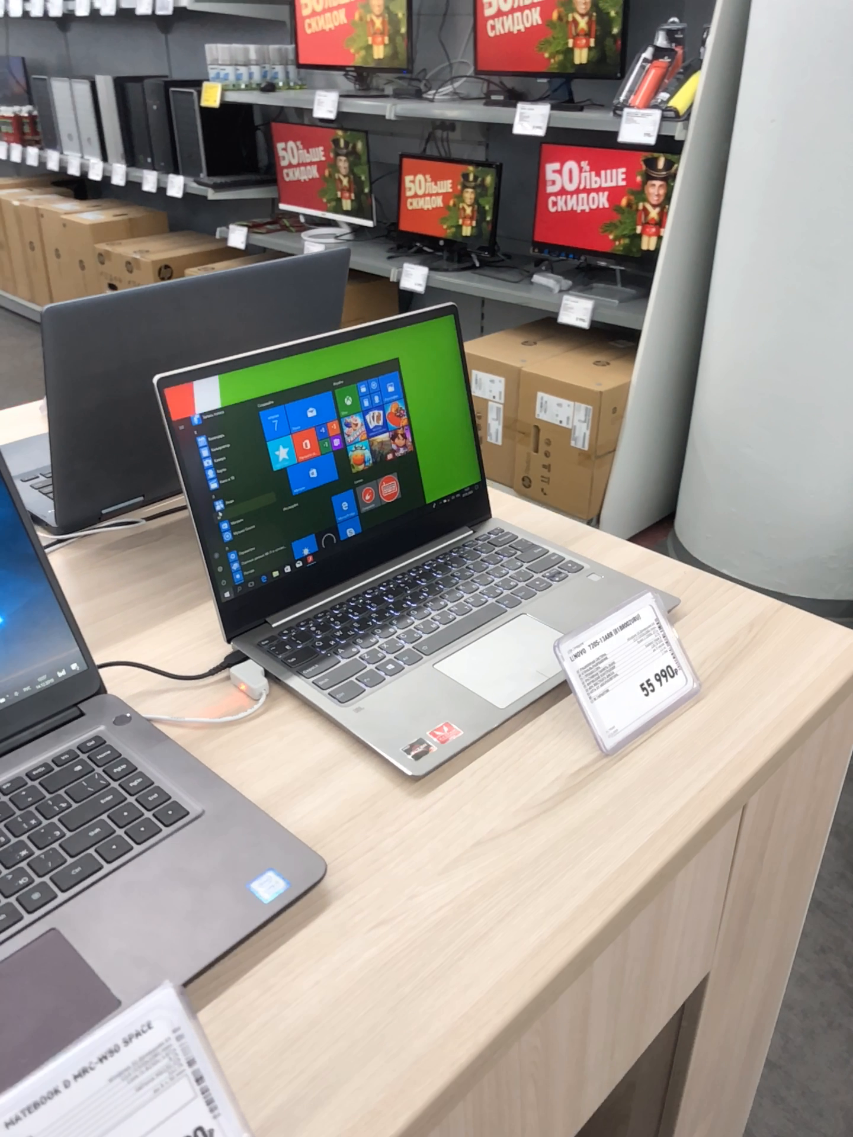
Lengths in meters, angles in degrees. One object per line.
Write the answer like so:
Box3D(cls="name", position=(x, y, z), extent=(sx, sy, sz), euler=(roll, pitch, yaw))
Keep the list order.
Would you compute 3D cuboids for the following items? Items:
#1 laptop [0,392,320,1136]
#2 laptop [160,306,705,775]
Box3D(cls="laptop", position=(-0.299, 0.088, 0.452), extent=(0.340, 0.188, 0.345), euler=(25, 38, 36))
Box3D(cls="laptop", position=(0.006, -0.052, 0.704), extent=(0.286, 0.187, 0.262), euler=(-26, 39, -38))
